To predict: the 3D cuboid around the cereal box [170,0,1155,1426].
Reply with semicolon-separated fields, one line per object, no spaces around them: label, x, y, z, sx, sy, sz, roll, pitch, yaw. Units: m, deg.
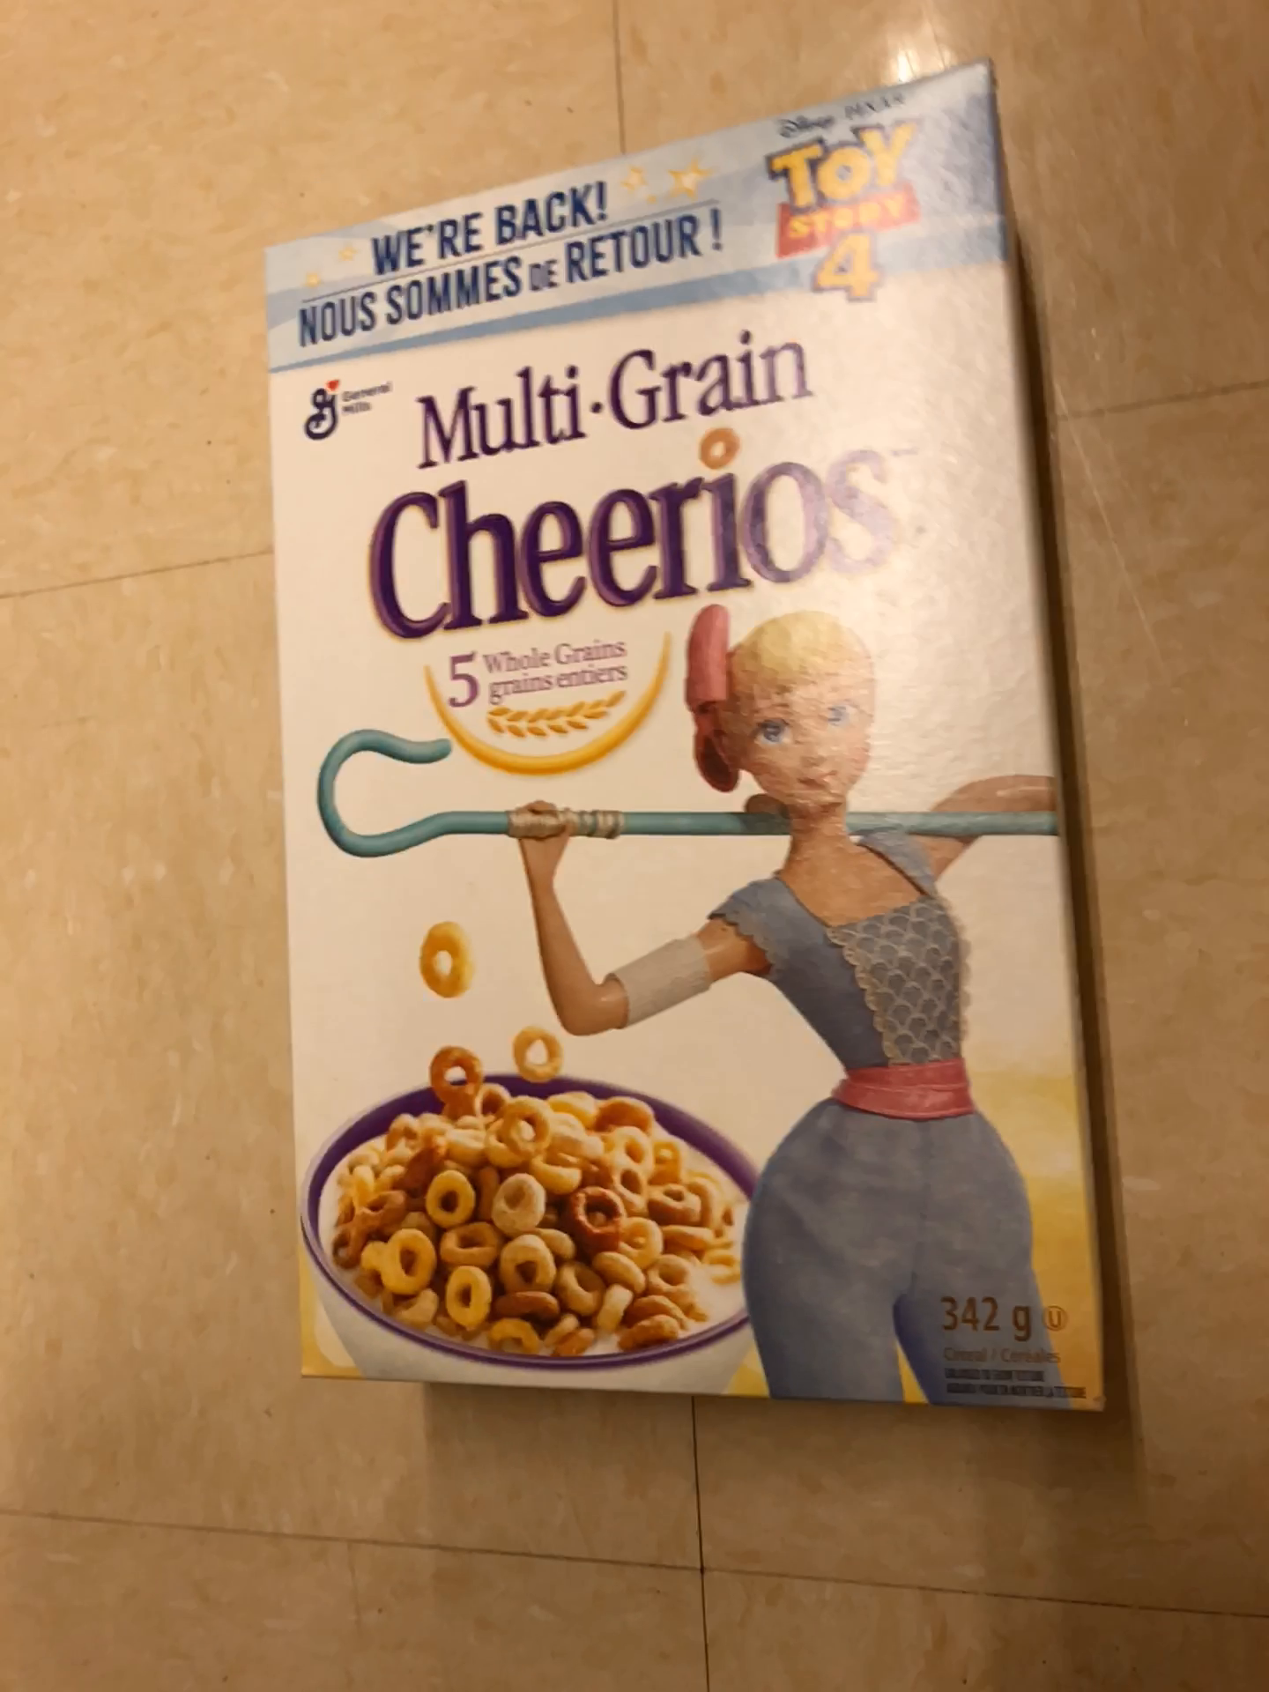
cereal box;0.001;-0.023;0.345;0.211;0.070;0.290;-5;85;19
